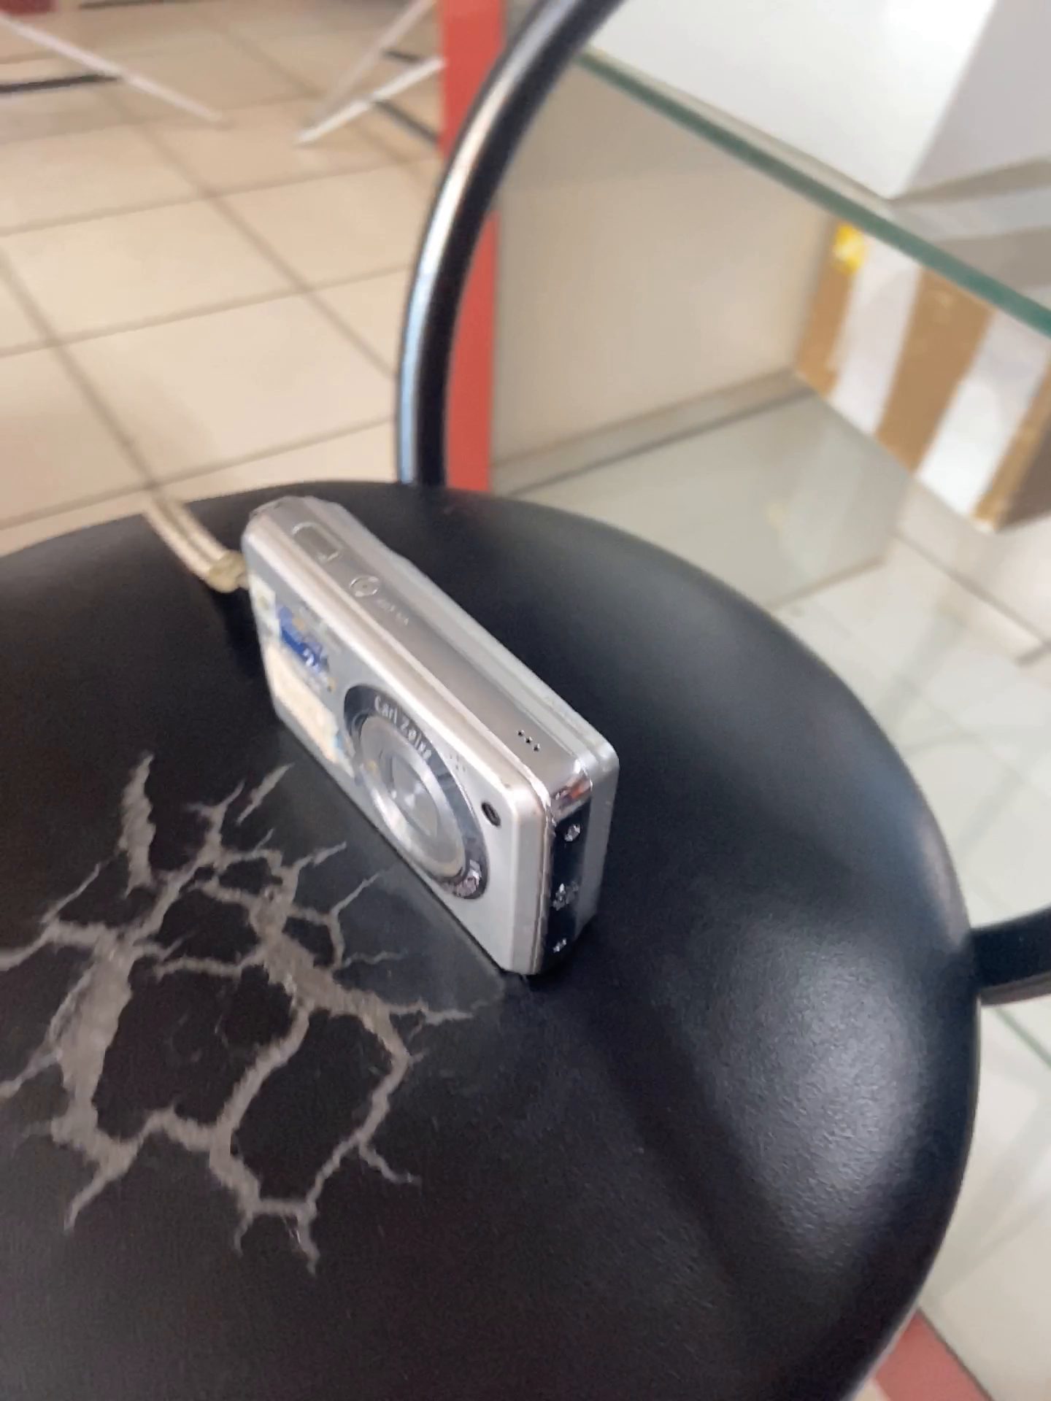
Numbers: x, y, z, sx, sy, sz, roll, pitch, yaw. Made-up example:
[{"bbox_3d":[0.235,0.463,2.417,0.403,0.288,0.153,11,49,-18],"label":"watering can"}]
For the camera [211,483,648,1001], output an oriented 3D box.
[{"bbox_3d":[-0.022,0.004,0.207,0.026,0.044,0.093,-28,54,-28],"label":"camera"}]
